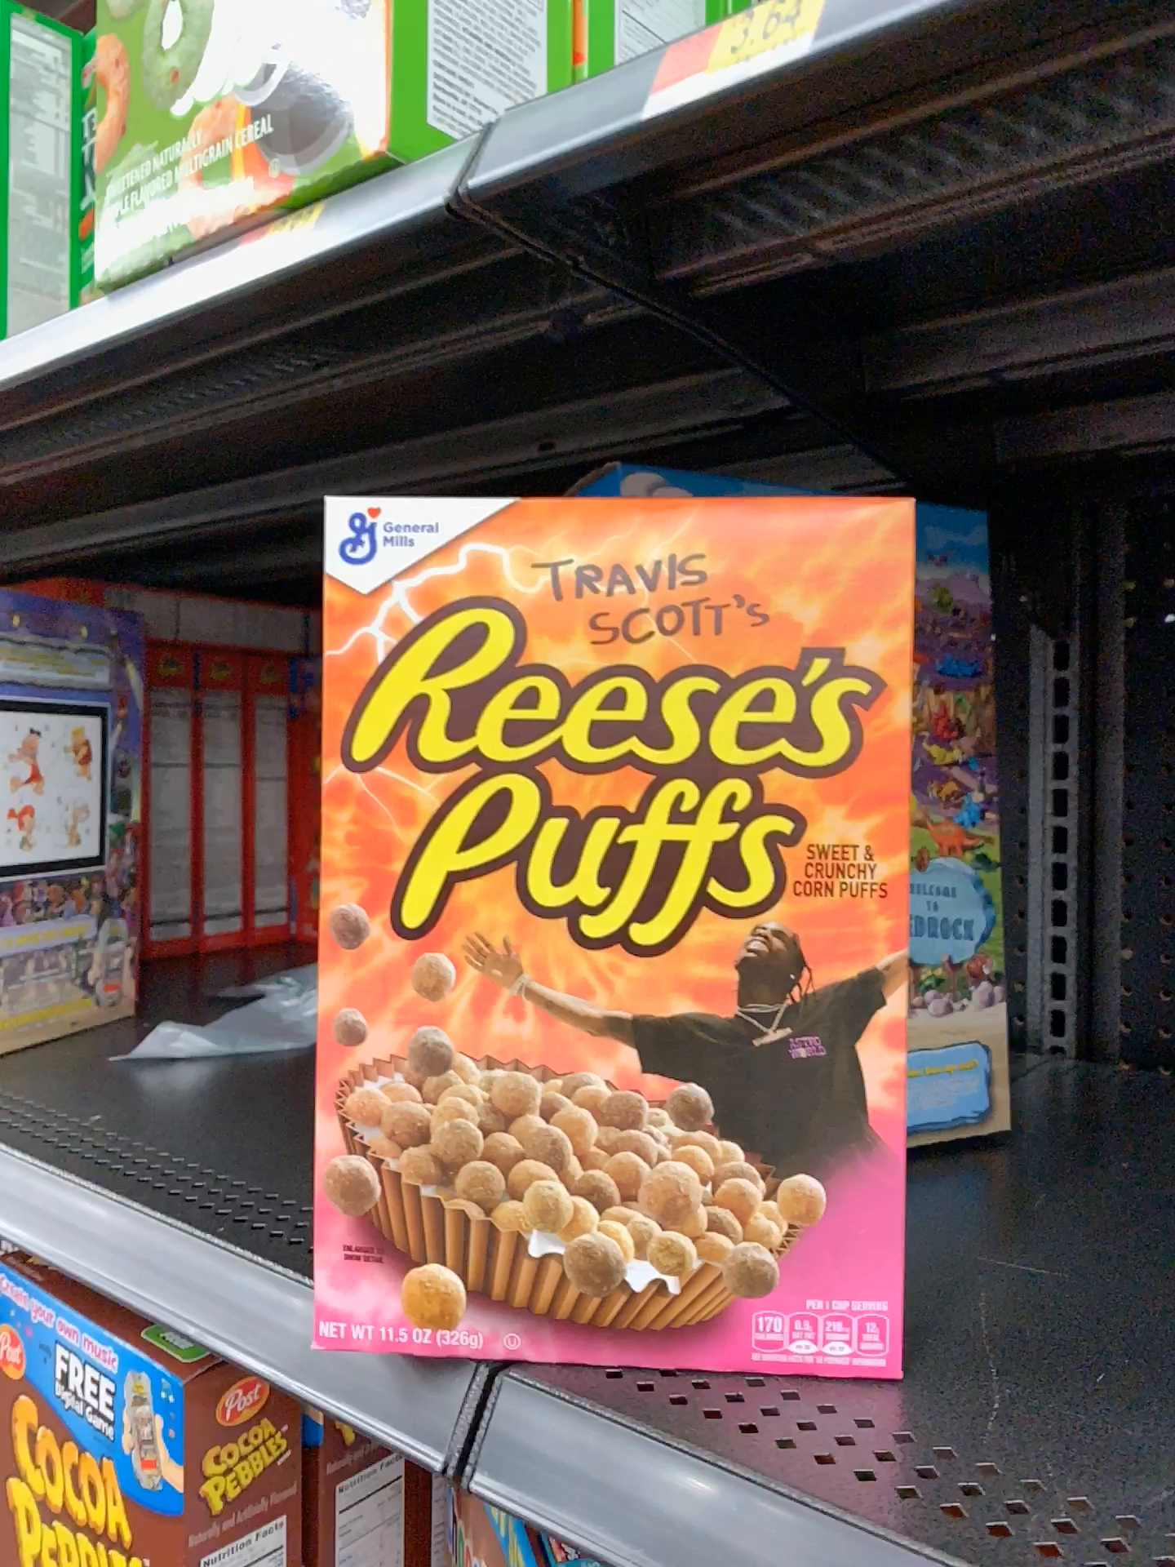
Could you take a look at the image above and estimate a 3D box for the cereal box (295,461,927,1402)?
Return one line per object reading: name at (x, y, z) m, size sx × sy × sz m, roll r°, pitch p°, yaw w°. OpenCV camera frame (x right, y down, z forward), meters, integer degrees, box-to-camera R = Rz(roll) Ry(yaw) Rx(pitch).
cereal box at (0.008, 0.044, 0.411) m, size 0.200 × 0.290 × 0.050 m, roll 0°, pitch -1°, yaw 6°
